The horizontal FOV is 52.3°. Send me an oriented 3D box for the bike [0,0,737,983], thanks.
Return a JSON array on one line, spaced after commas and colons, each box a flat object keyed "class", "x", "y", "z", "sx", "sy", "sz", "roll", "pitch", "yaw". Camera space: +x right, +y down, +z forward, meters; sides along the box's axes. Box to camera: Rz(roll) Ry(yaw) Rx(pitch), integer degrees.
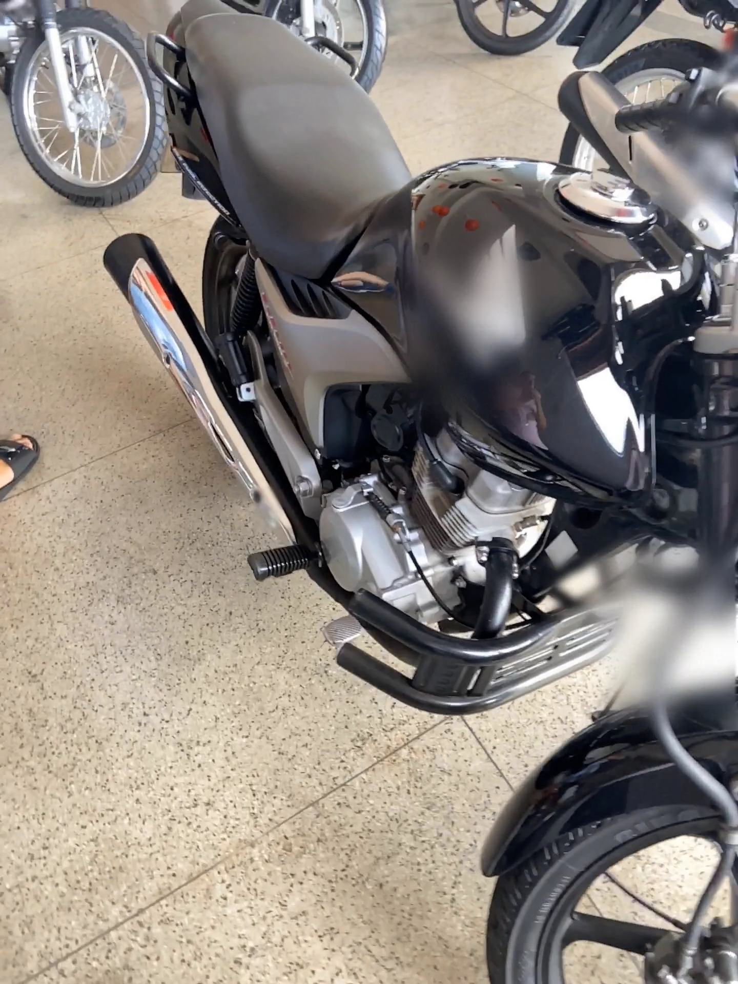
[{"class": "bike", "x": 0.229, "y": -0.174, "z": 1.054, "sx": 0.774, "sy": 1.138, "sz": 1.742, "roll": -31, "pitch": 53, "yaw": -19}]
